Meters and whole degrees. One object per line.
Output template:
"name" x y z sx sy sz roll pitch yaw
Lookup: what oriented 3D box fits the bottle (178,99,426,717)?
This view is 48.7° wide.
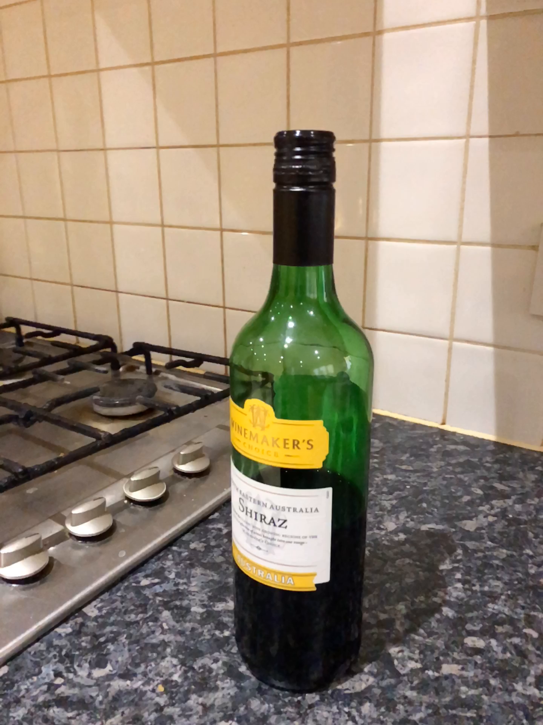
"bottle" 0.016 0.023 0.307 0.080 0.279 0.080 0 17 0
